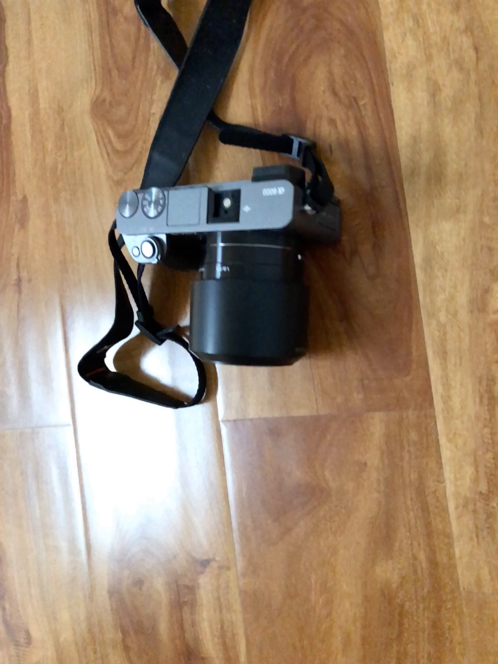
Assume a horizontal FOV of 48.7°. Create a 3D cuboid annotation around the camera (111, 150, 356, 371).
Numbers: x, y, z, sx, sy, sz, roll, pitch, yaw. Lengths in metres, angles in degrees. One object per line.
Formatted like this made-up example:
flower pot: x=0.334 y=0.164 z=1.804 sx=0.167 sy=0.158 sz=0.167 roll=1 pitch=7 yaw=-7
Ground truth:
camera: x=-0.011 y=-0.037 z=0.337 sx=0.130 sy=0.070 sz=0.110 roll=2 pitch=91 yaw=31
